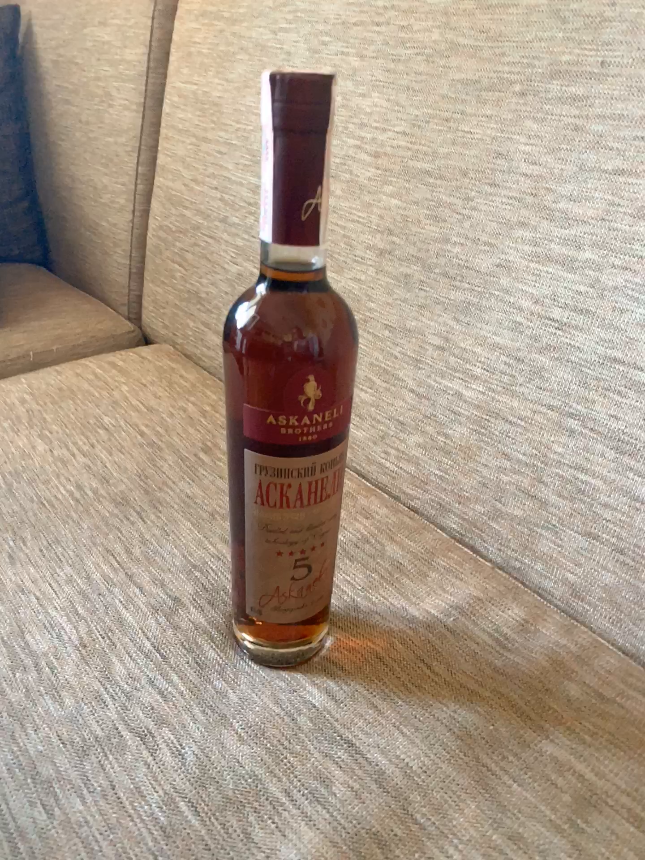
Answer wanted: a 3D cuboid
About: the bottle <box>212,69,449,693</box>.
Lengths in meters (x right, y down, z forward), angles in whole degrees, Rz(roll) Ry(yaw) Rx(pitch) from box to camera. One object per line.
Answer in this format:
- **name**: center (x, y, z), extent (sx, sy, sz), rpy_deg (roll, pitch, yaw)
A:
- **bottle**: center (-0.010, -0.008, 0.311), extent (0.070, 0.279, 0.070), rpy_deg (3, 28, -2)
